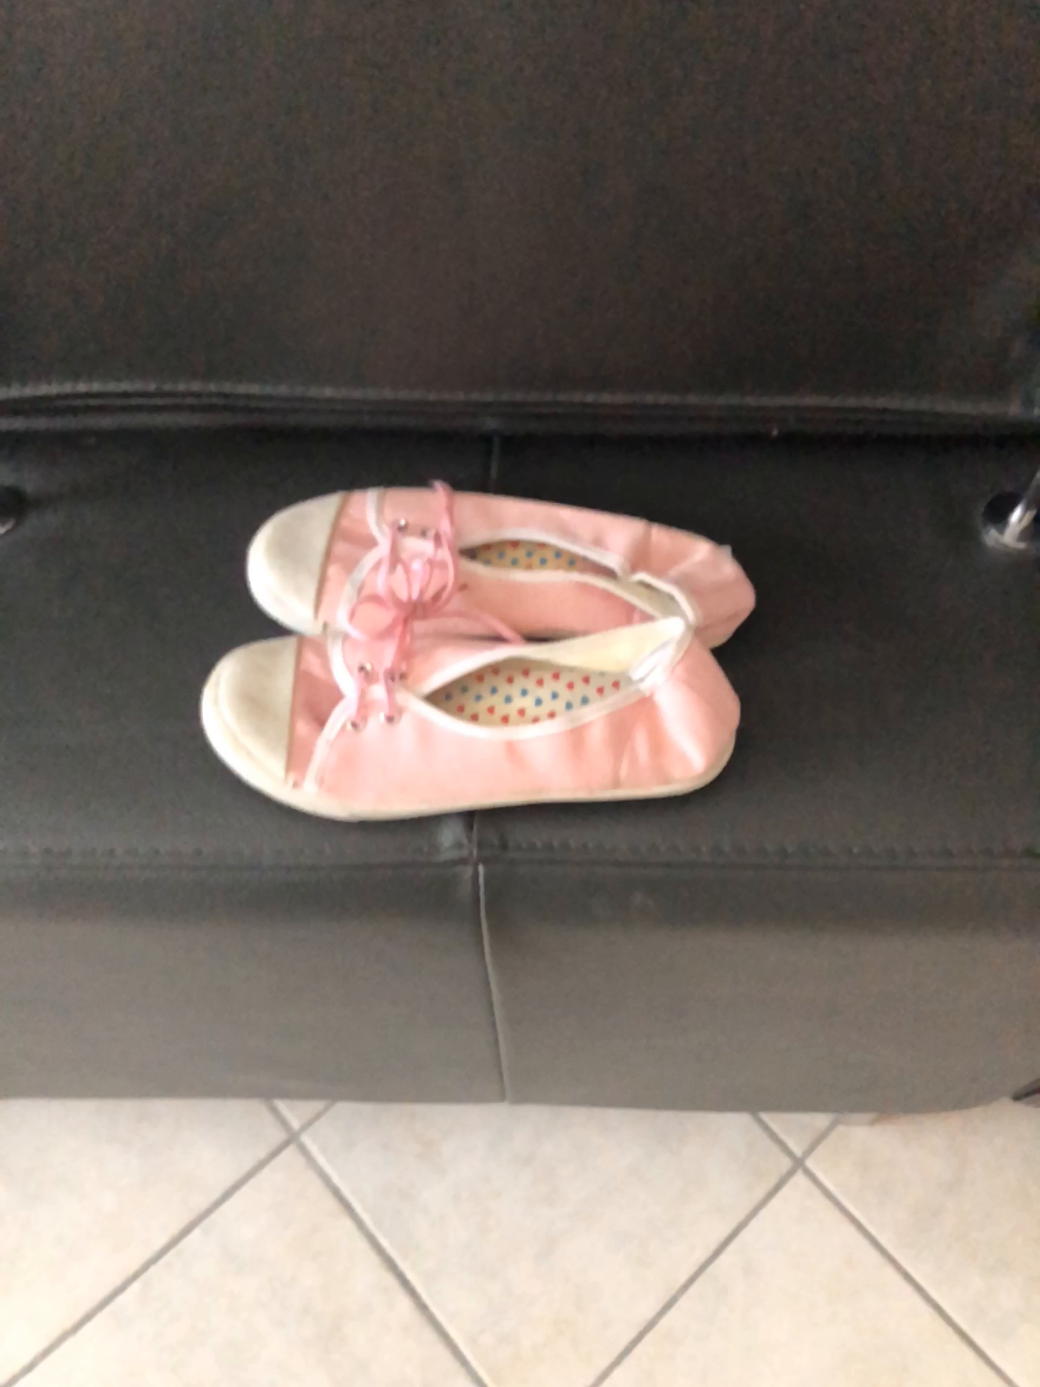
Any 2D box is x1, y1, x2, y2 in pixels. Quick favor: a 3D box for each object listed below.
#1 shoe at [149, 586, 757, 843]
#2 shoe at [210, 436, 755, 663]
[{"bbox_3d":[-0.024,0.008,0.493,0.240,0.040,0.090,3,59,2],"label":"shoe"},{"bbox_3d":[-0.014,-0.069,0.545,0.240,0.040,0.090,3,59,2],"label":"shoe"}]
